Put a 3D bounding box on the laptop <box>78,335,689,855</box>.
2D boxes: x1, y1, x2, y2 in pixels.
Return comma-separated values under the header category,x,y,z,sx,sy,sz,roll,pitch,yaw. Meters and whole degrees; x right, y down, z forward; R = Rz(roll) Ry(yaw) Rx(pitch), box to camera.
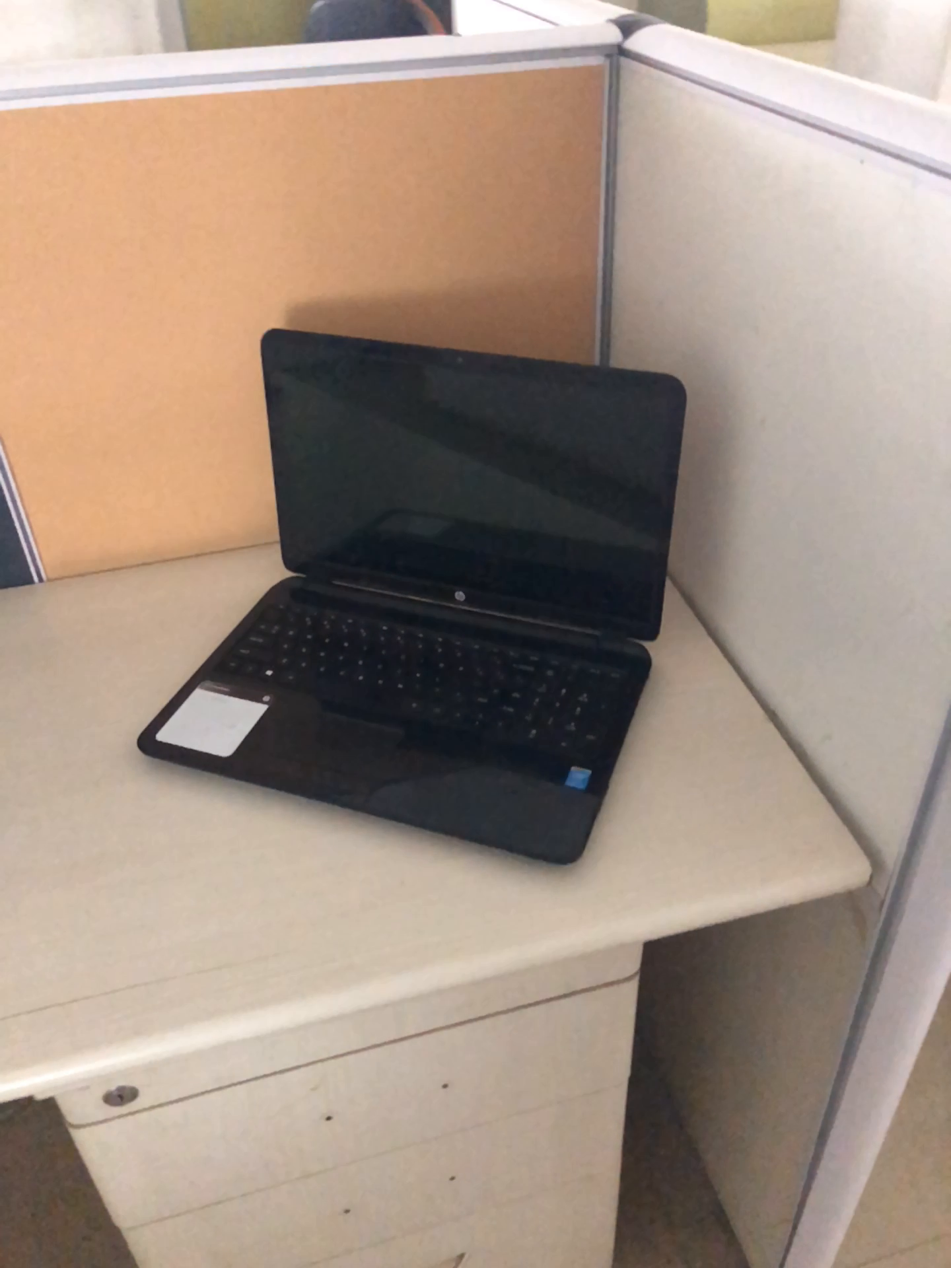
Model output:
category,x,y,z,sx,sy,sz,roll,pitch,yaw
laptop,-0.049,-0.050,0.808,0.351,0.225,0.266,12,40,18
